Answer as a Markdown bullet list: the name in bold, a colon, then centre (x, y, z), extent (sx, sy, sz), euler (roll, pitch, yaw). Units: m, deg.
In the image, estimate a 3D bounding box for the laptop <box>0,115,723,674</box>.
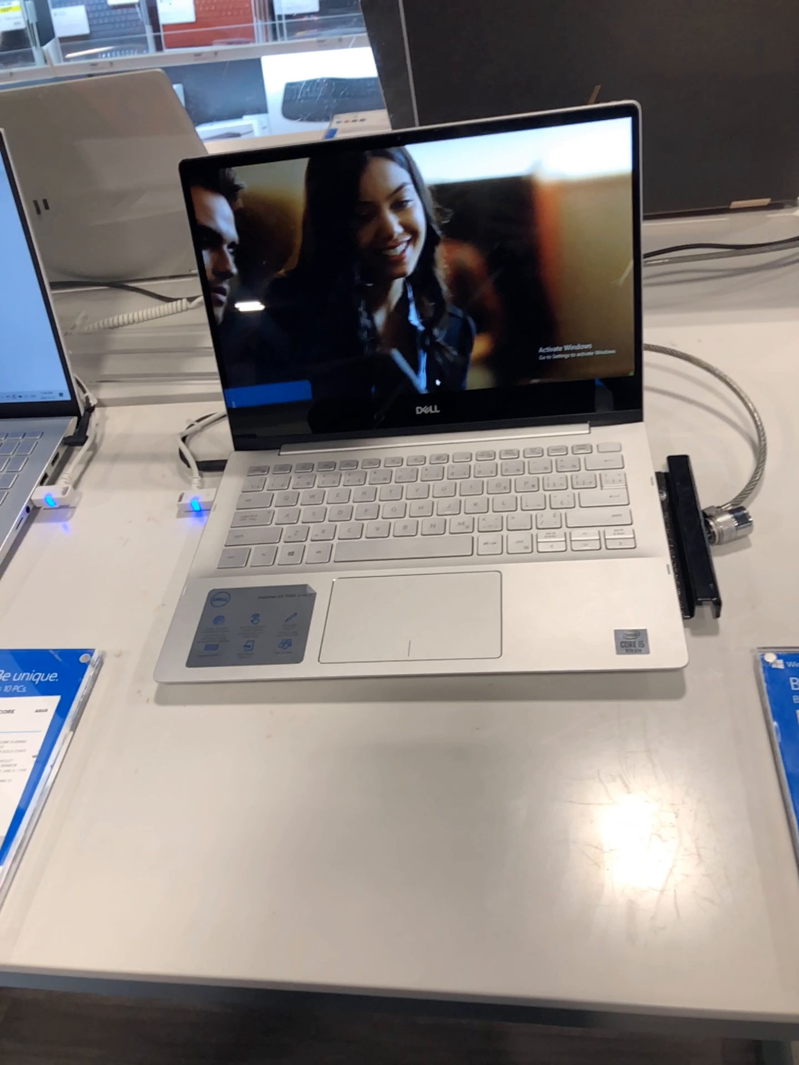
- **laptop**: centre (0.000, -0.081, 0.500), extent (0.285, 0.186, 0.265), euler (-3, 43, 9)
